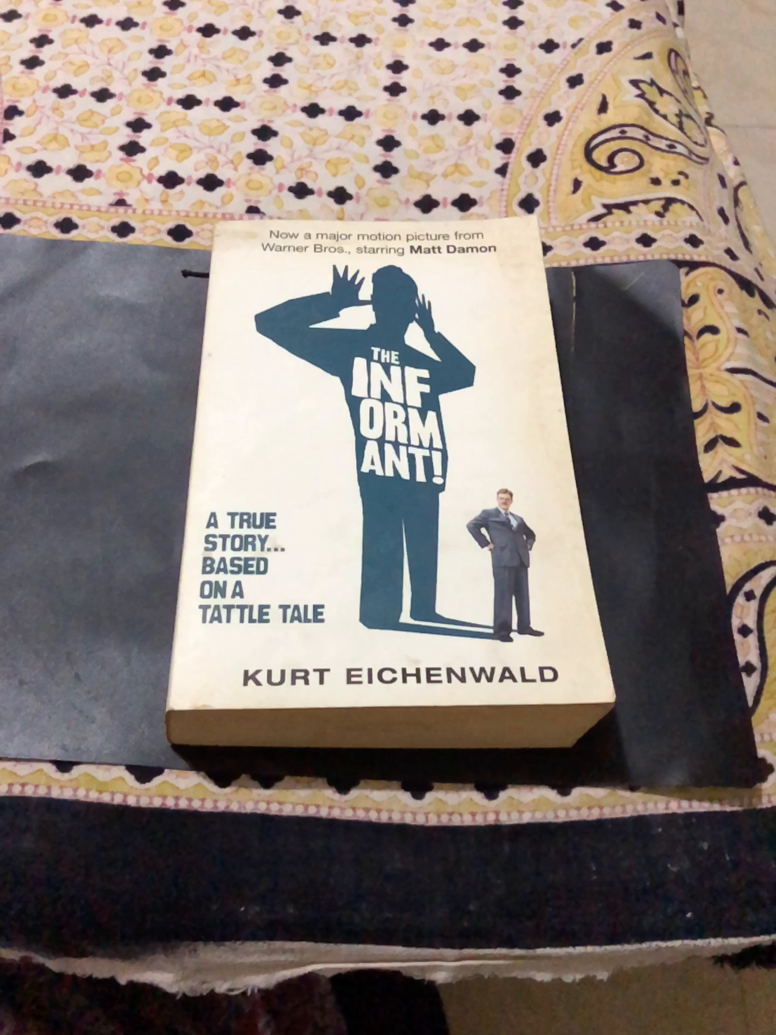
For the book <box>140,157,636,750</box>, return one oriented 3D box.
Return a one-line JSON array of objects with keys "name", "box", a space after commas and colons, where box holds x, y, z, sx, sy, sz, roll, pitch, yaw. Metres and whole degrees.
[{"name": "book", "box": [-0.003, -0.035, 0.323, 0.140, 0.050, 0.230, 1, 60, -3]}]
